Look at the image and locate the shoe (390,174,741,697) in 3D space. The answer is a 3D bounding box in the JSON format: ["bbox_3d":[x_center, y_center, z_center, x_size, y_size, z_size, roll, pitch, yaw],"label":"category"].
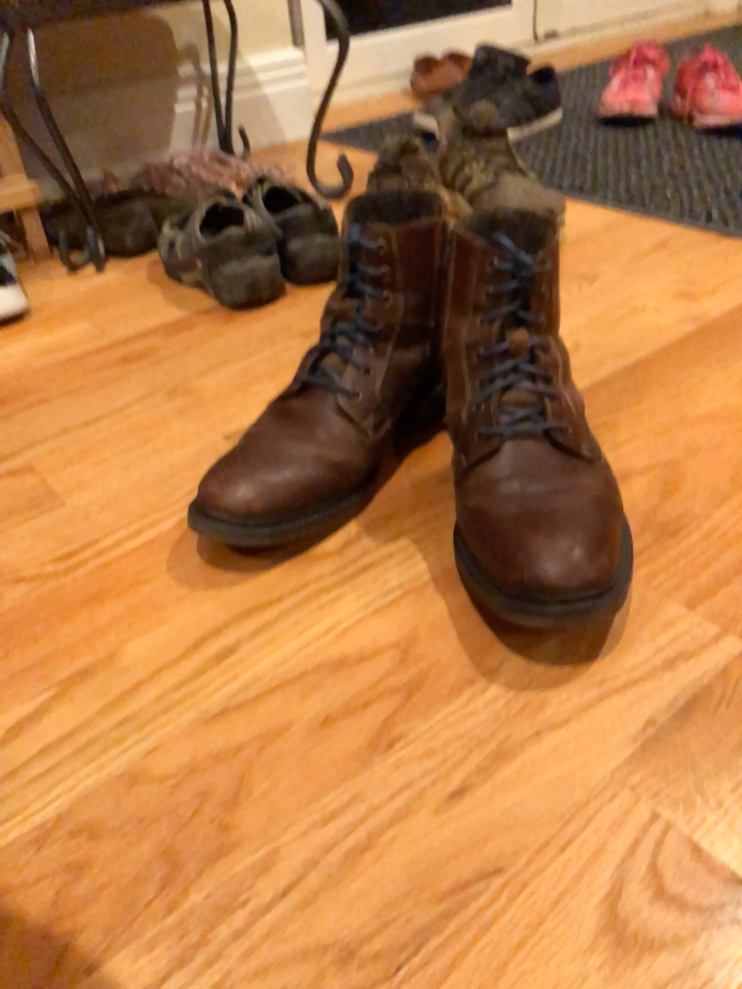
[{"bbox_3d":[0.094,-0.060,0.504,0.128,0.176,0.305,-6,36,0],"label":"shoe"}]

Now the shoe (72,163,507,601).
[{"bbox_3d":[-0.026,-0.101,0.573,0.113,0.167,0.311,18,42,29],"label":"shoe"}]
